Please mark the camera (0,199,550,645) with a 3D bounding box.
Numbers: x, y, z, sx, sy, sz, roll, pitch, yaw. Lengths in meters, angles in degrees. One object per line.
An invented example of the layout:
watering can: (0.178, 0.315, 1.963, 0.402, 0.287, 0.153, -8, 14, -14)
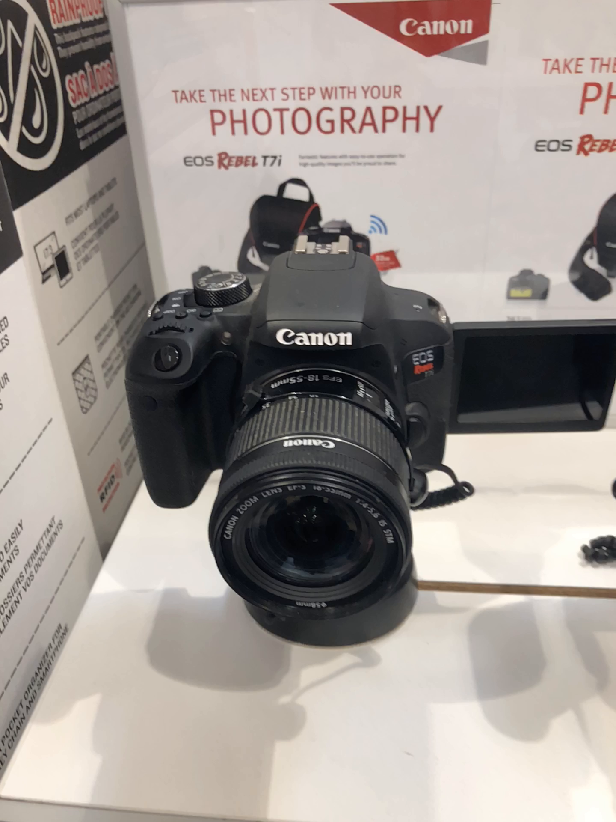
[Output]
camera: (-0.004, -0.008, 0.262, 0.140, 0.099, 0.151, 0, 33, 5)
